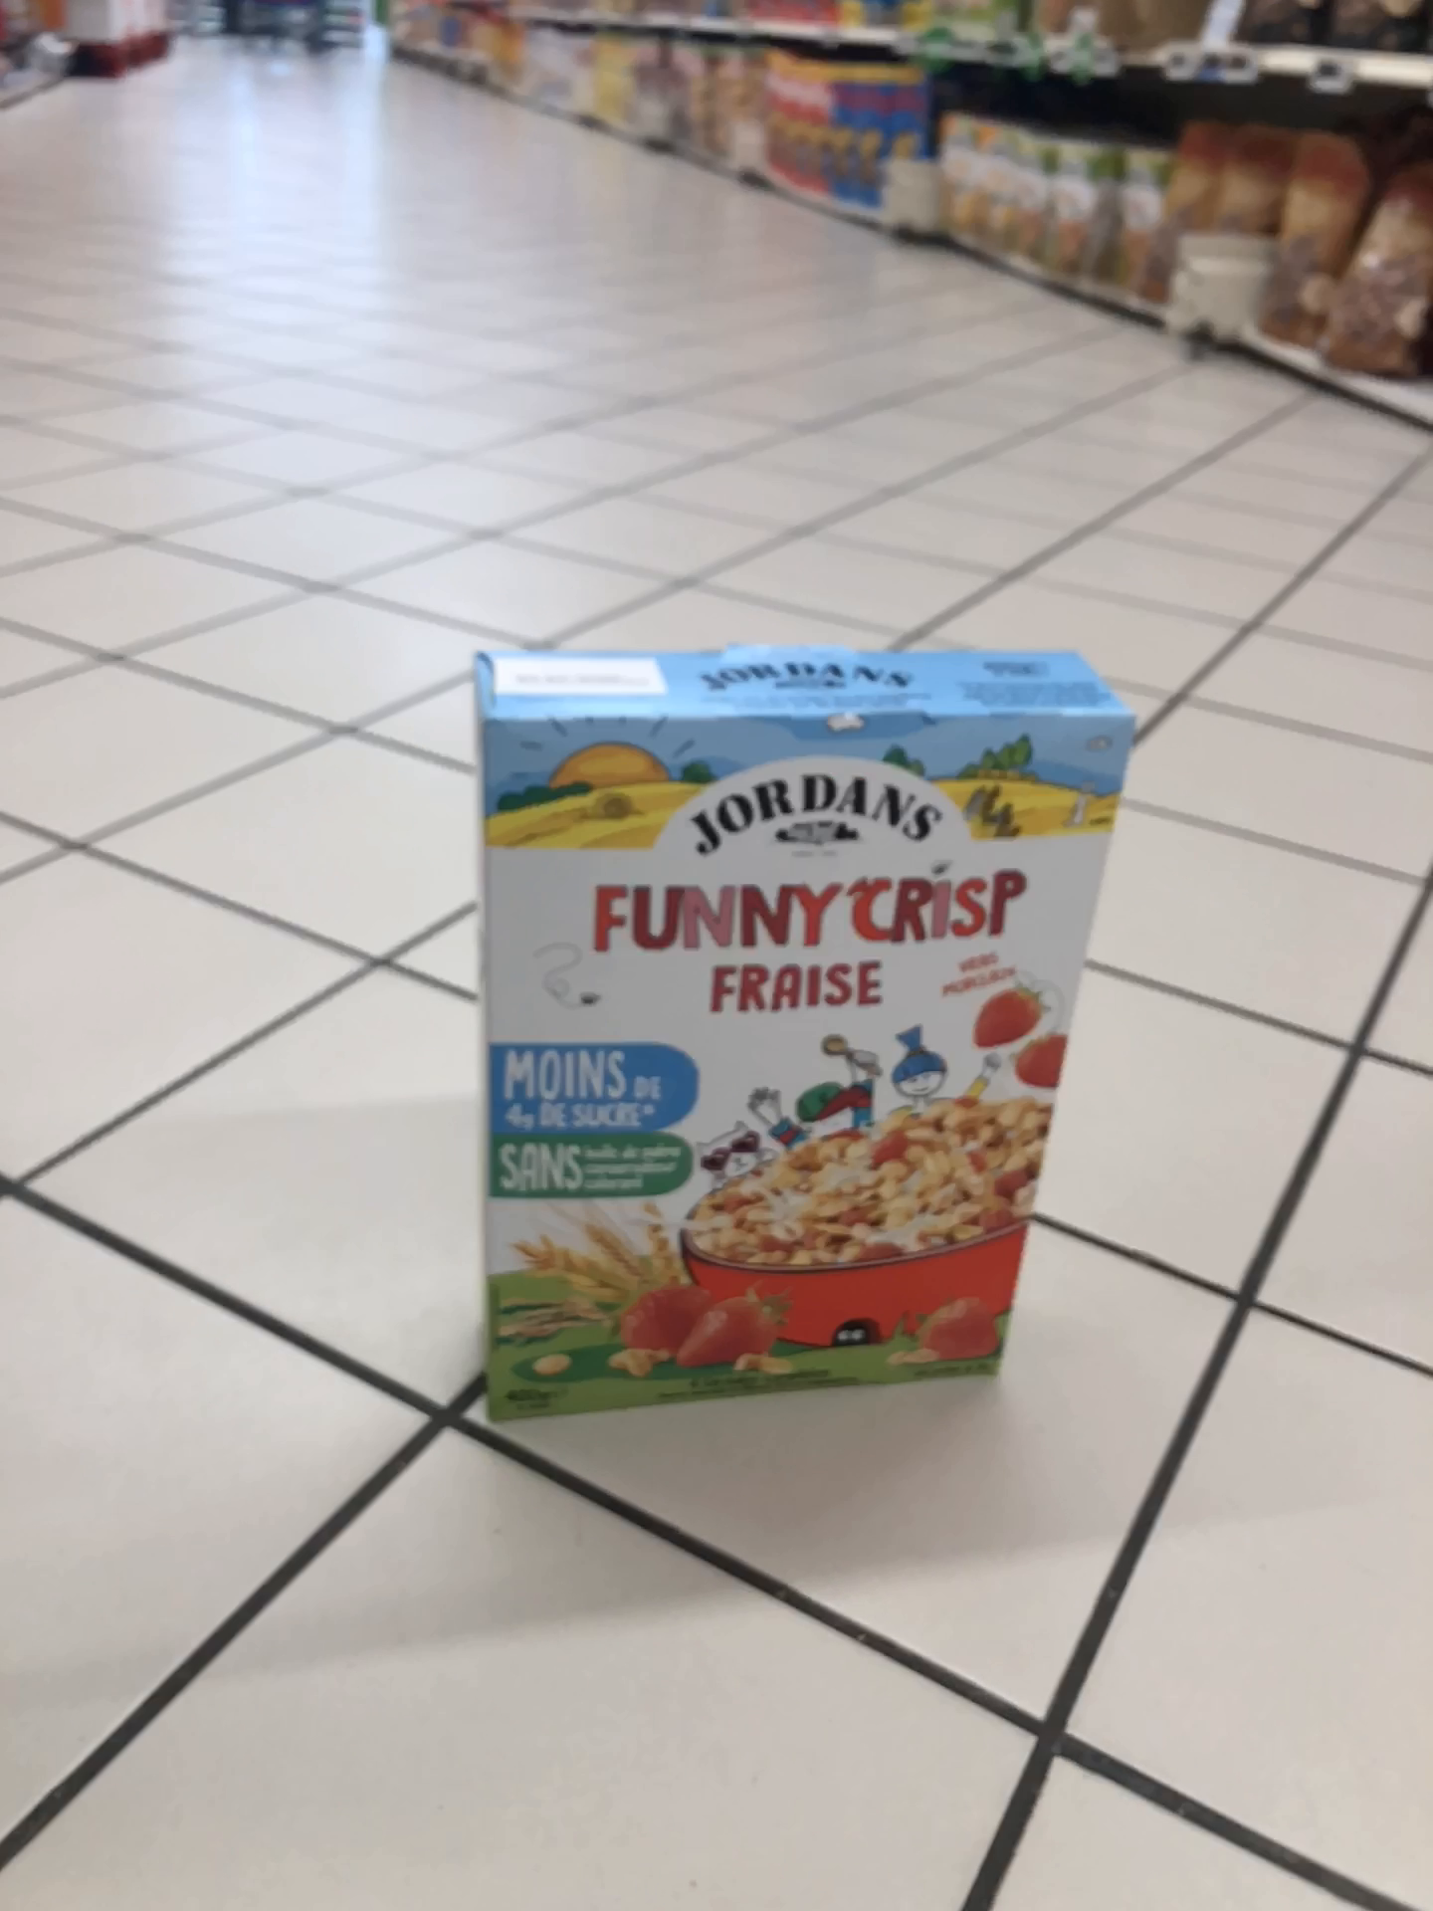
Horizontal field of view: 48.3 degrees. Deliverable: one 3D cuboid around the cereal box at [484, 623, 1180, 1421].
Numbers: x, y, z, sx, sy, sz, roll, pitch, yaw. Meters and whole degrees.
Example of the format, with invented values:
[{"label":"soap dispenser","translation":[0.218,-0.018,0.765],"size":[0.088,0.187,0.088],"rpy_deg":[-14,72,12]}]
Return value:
[{"label":"cereal box","translation":[0.021,0.024,0.460],"size":[0.170,0.229,0.050],"rpy_deg":[-2,29,-11]}]
